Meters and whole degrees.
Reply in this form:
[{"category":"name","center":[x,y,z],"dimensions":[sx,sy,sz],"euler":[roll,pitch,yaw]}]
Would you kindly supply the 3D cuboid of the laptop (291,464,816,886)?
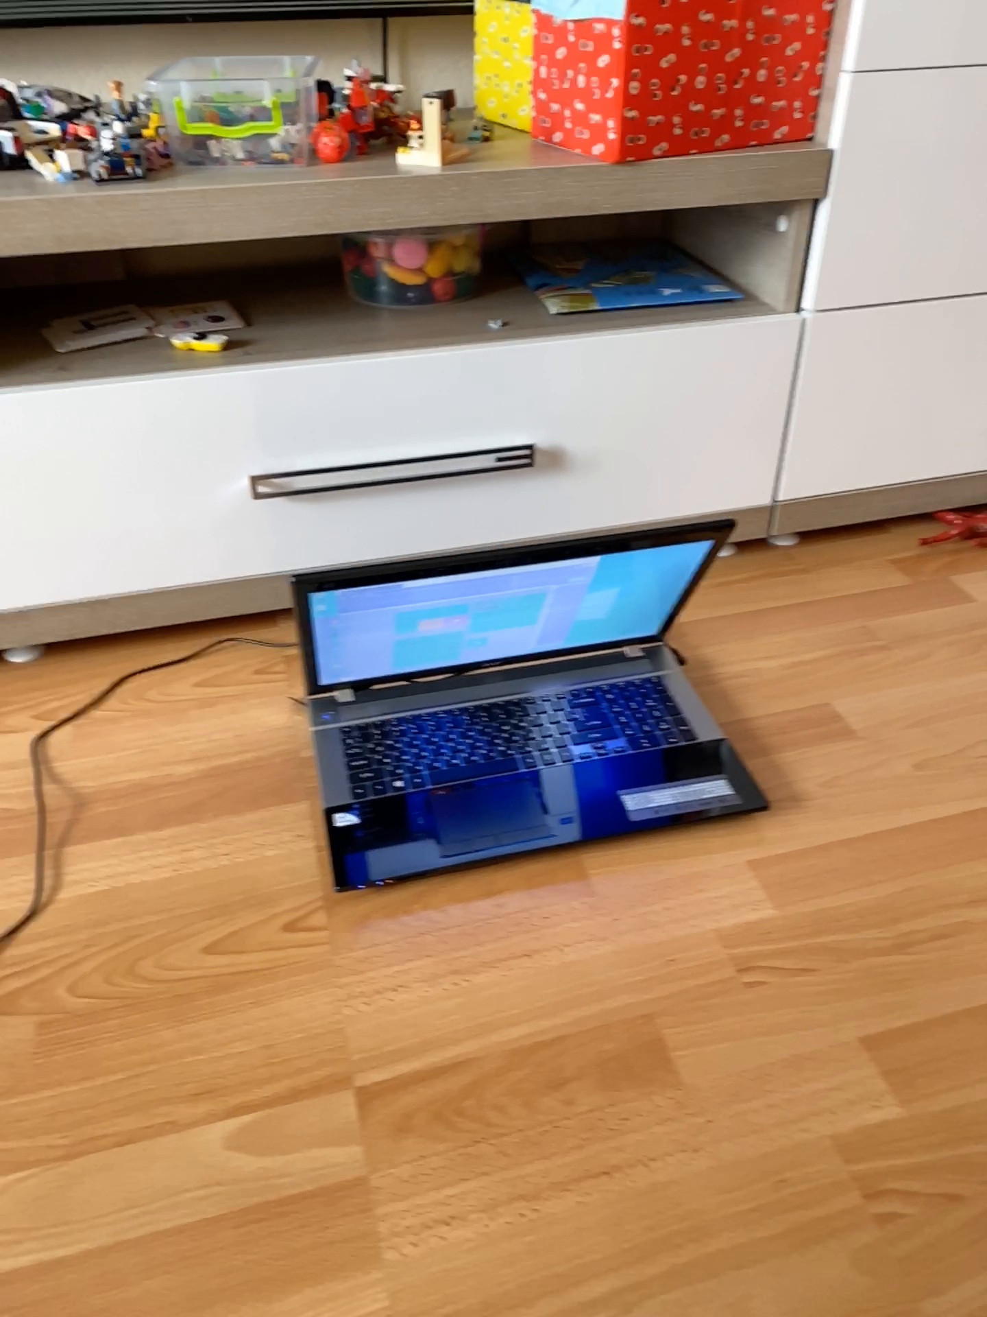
[{"category":"laptop","center":[0.035,-0.001,0.955],"dimensions":[0.412,0.233,0.270],"euler":[-8,35,-10]}]
